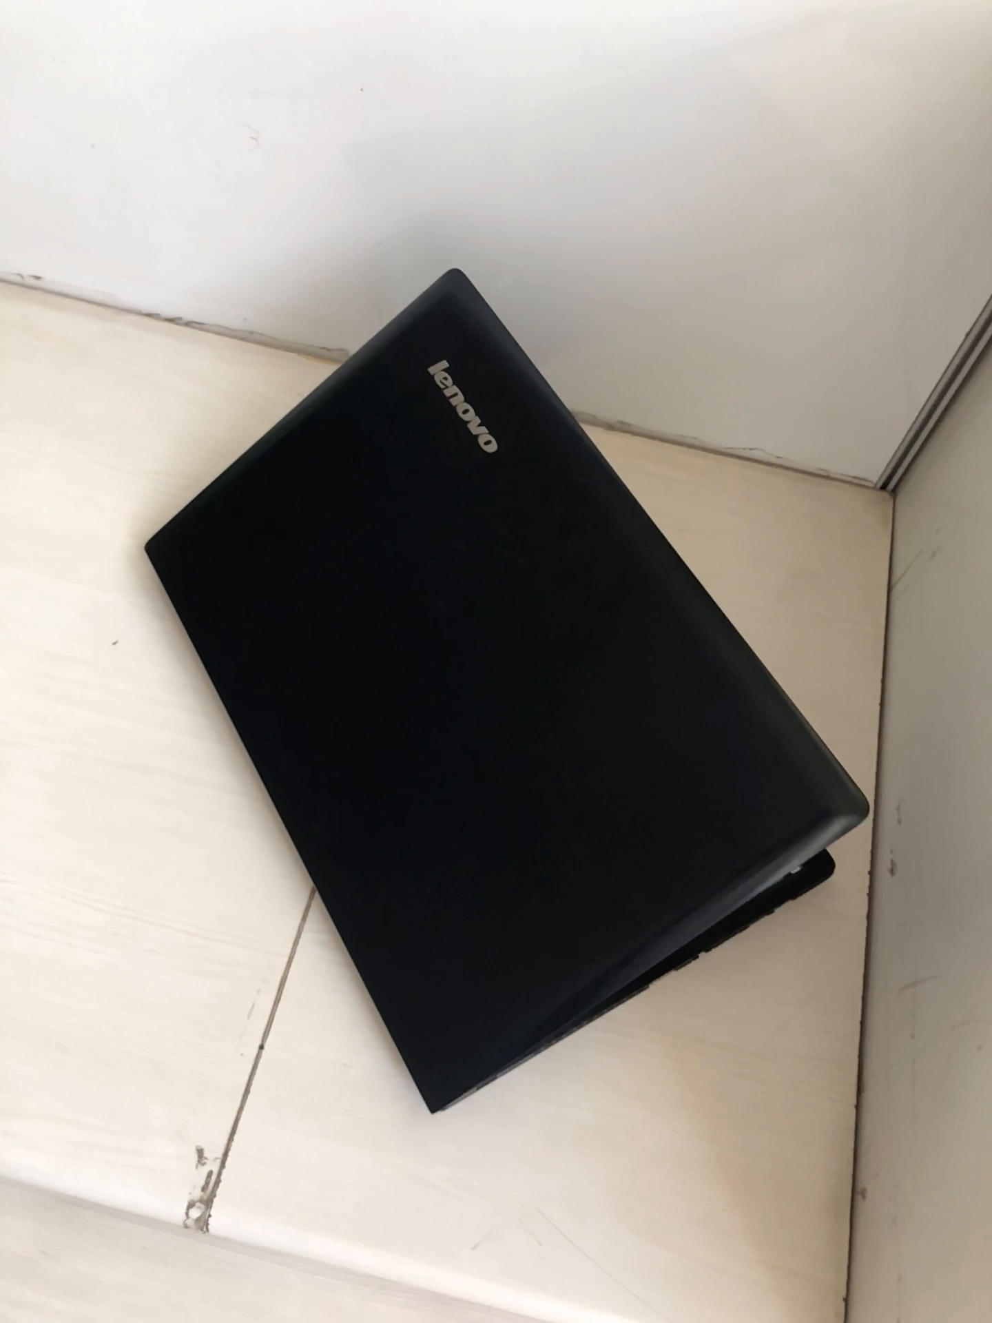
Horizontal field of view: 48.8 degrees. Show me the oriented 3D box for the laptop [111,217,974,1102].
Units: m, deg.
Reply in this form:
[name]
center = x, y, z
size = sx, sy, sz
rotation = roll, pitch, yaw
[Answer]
[laptop]
center = -0.003, -0.014, 0.590
size = 0.252, 0.162, 0.375
rotation = -26, 66, -15
